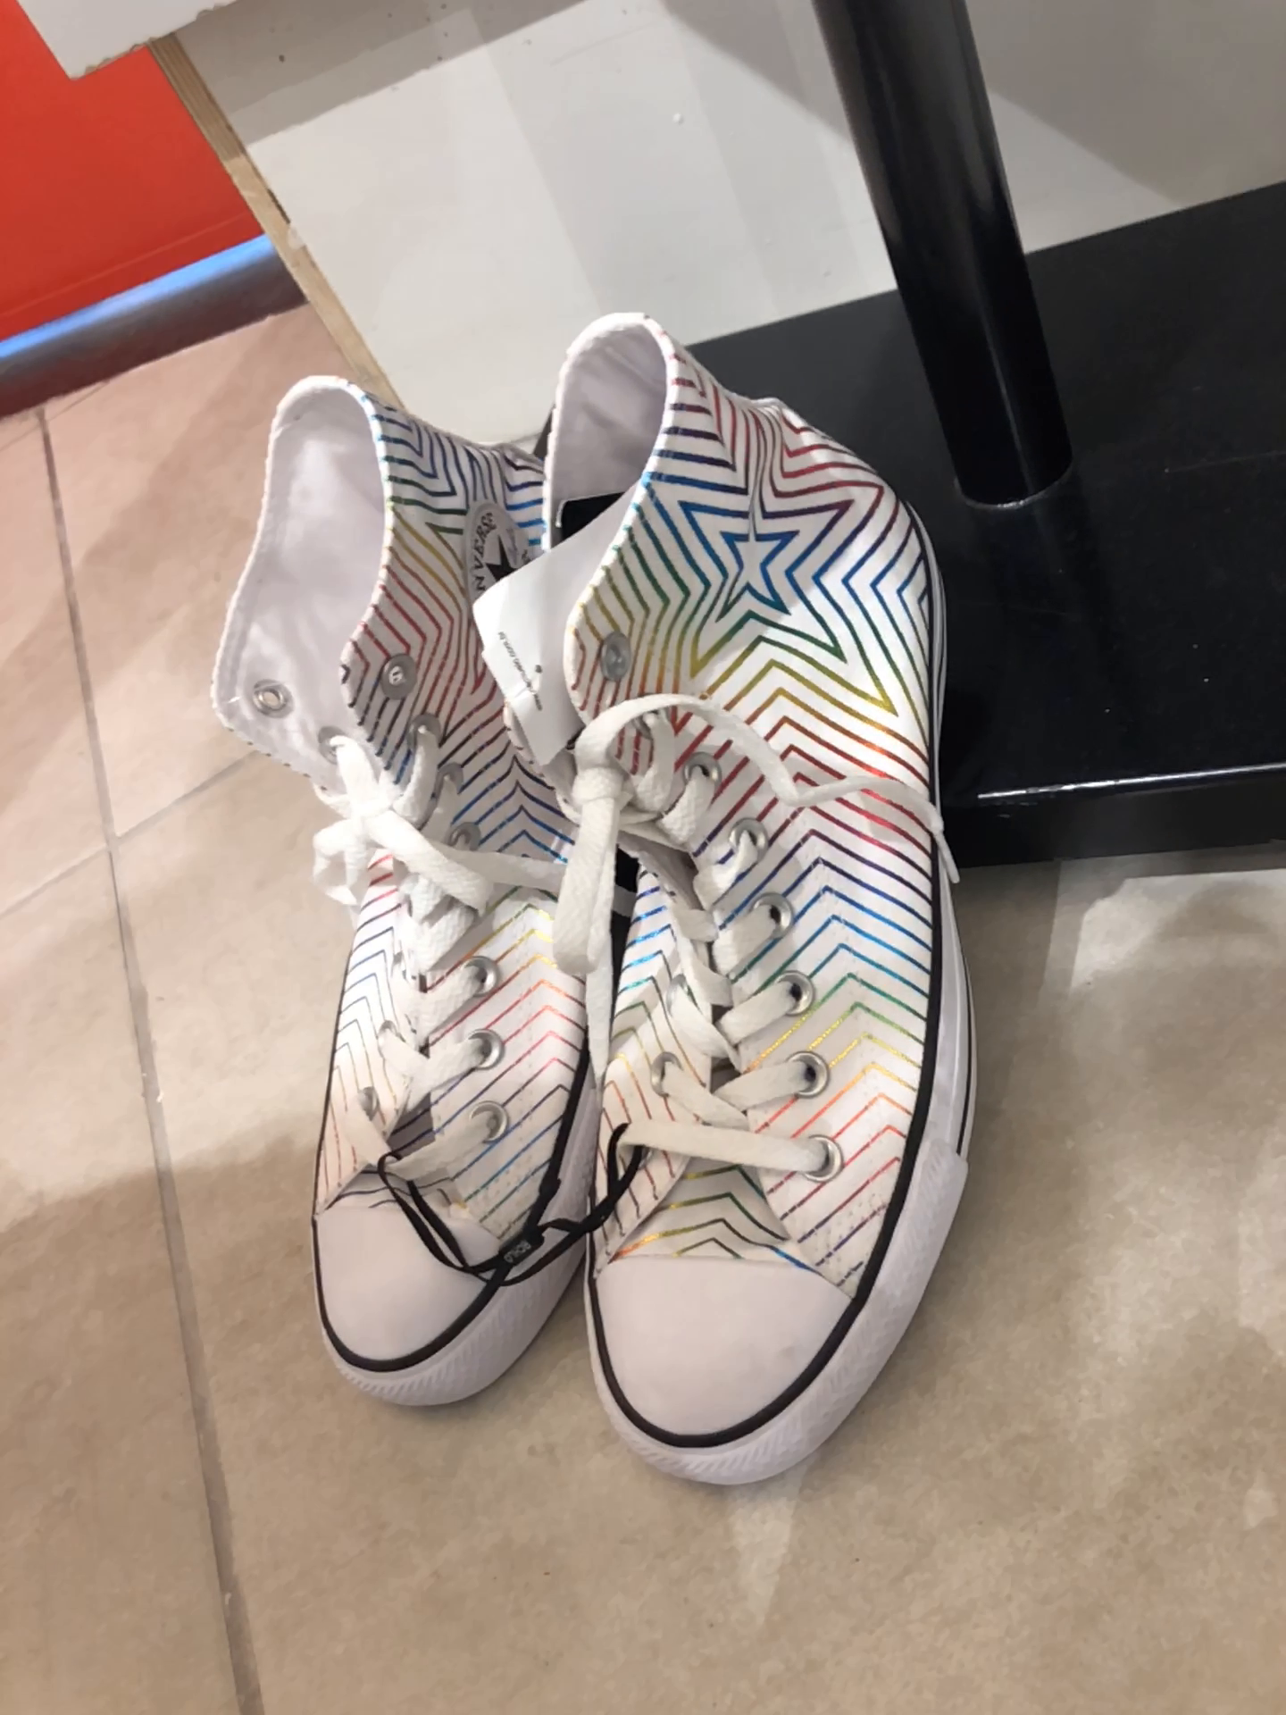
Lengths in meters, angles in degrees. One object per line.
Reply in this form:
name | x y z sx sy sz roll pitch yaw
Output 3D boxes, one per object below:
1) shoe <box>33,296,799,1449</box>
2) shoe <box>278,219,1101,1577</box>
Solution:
shoe | -0.049 0.010 0.436 0.120 0.139 0.301 -3 68 29
shoe | 0.038 0.008 0.377 0.120 0.139 0.301 -3 61 29
